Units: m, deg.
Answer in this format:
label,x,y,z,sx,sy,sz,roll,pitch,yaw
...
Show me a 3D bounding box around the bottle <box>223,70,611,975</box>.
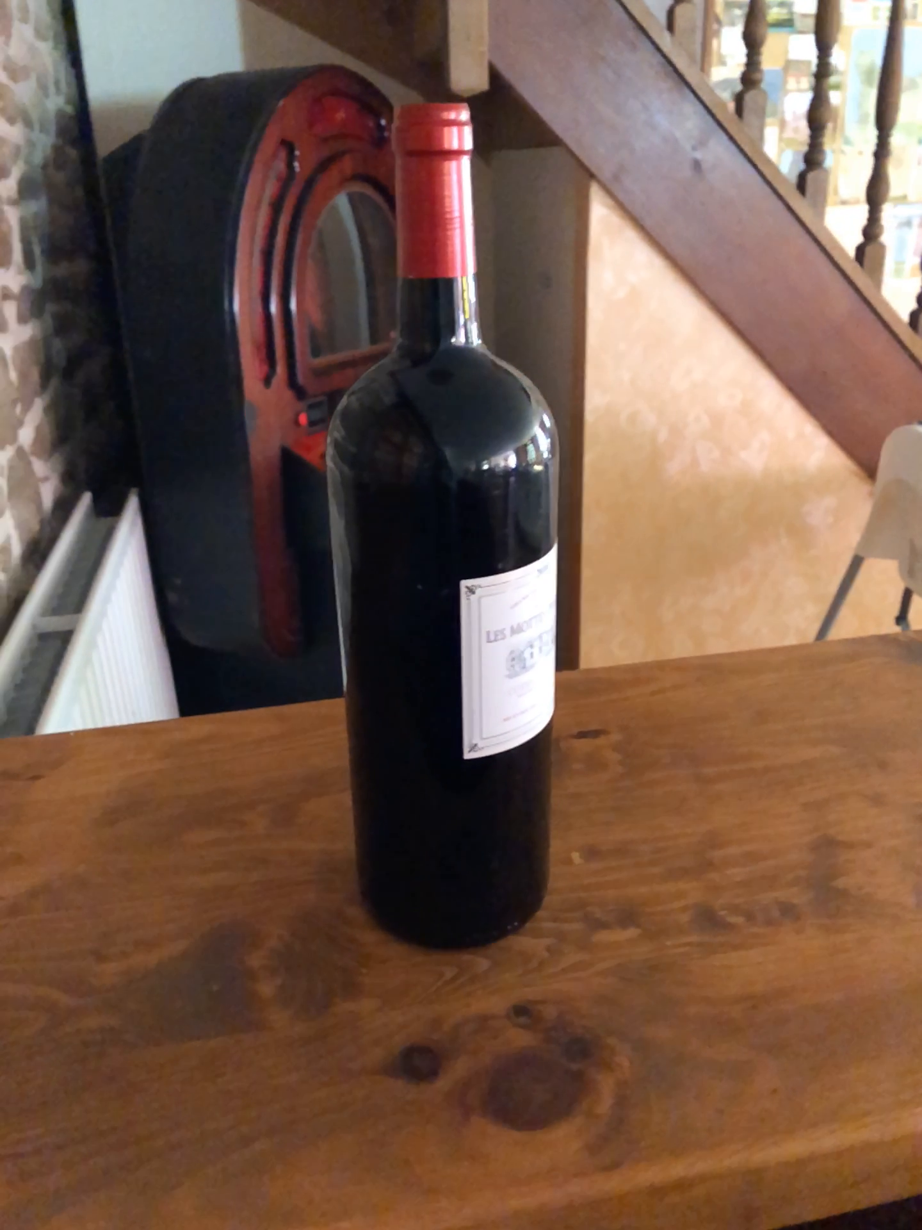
label,x,y,z,sx,sy,sz,roll,pitch,yaw
bottle,-0.010,-0.031,0.436,0.100,0.348,0.101,-1,23,1
